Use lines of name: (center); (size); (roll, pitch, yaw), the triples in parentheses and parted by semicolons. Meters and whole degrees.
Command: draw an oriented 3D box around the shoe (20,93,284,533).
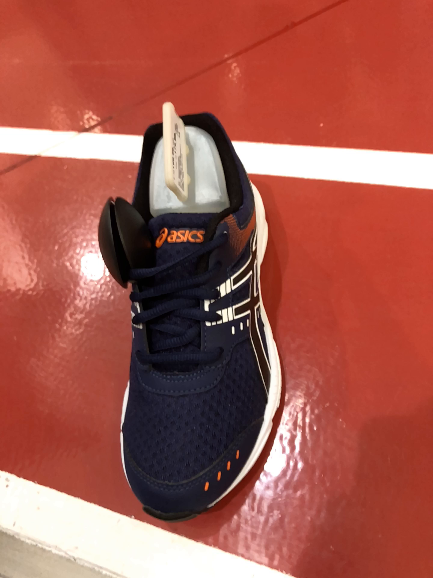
shoe: (-0.016, 0.009, 0.298); (0.100, 0.100, 0.241); (-2, 61, 14)
